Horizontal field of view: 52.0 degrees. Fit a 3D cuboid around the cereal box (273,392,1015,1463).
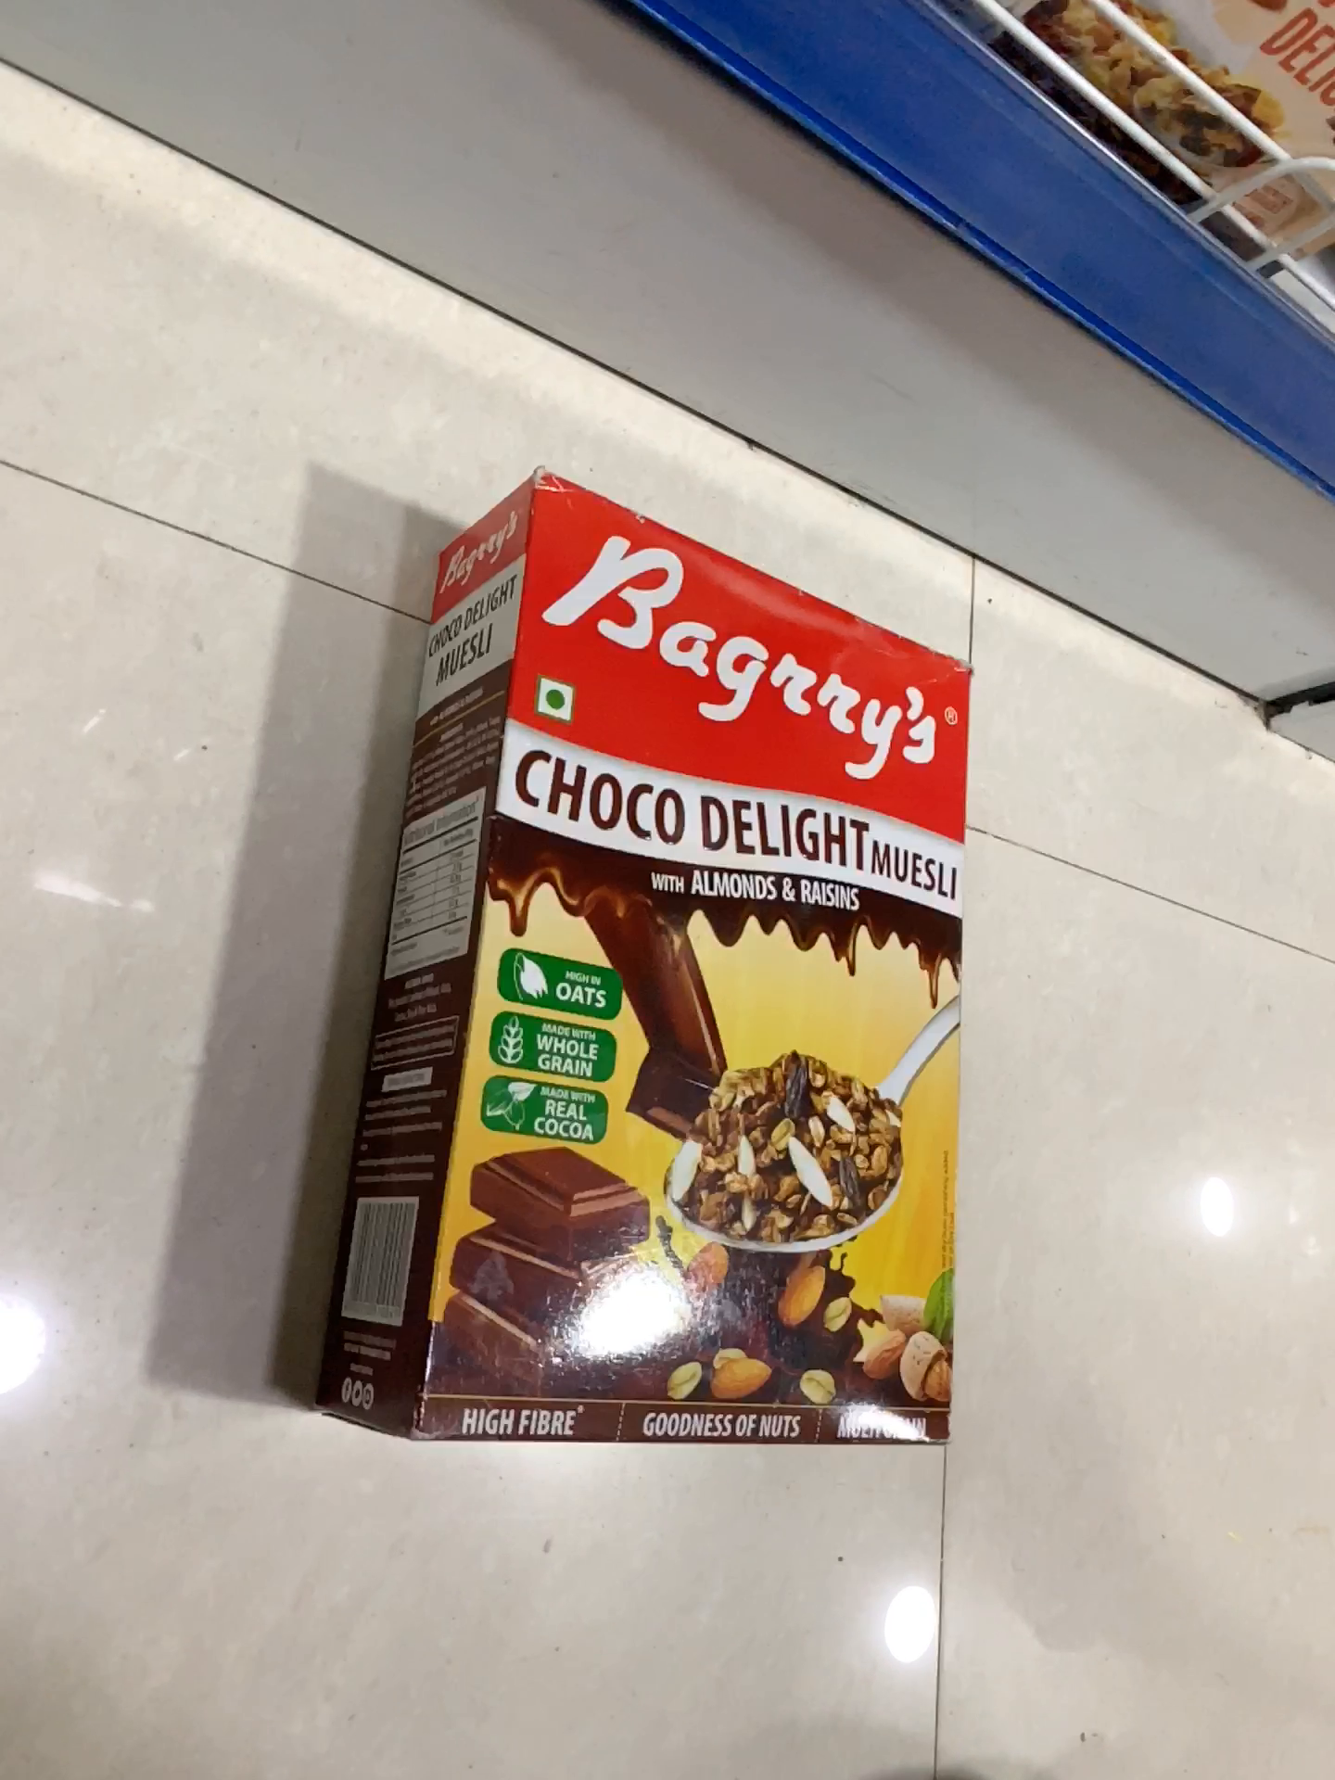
[{"bbox_3d":[0.010,0.024,0.431,0.201,0.080,0.280,16,70,-33],"label":"cereal box"}]
